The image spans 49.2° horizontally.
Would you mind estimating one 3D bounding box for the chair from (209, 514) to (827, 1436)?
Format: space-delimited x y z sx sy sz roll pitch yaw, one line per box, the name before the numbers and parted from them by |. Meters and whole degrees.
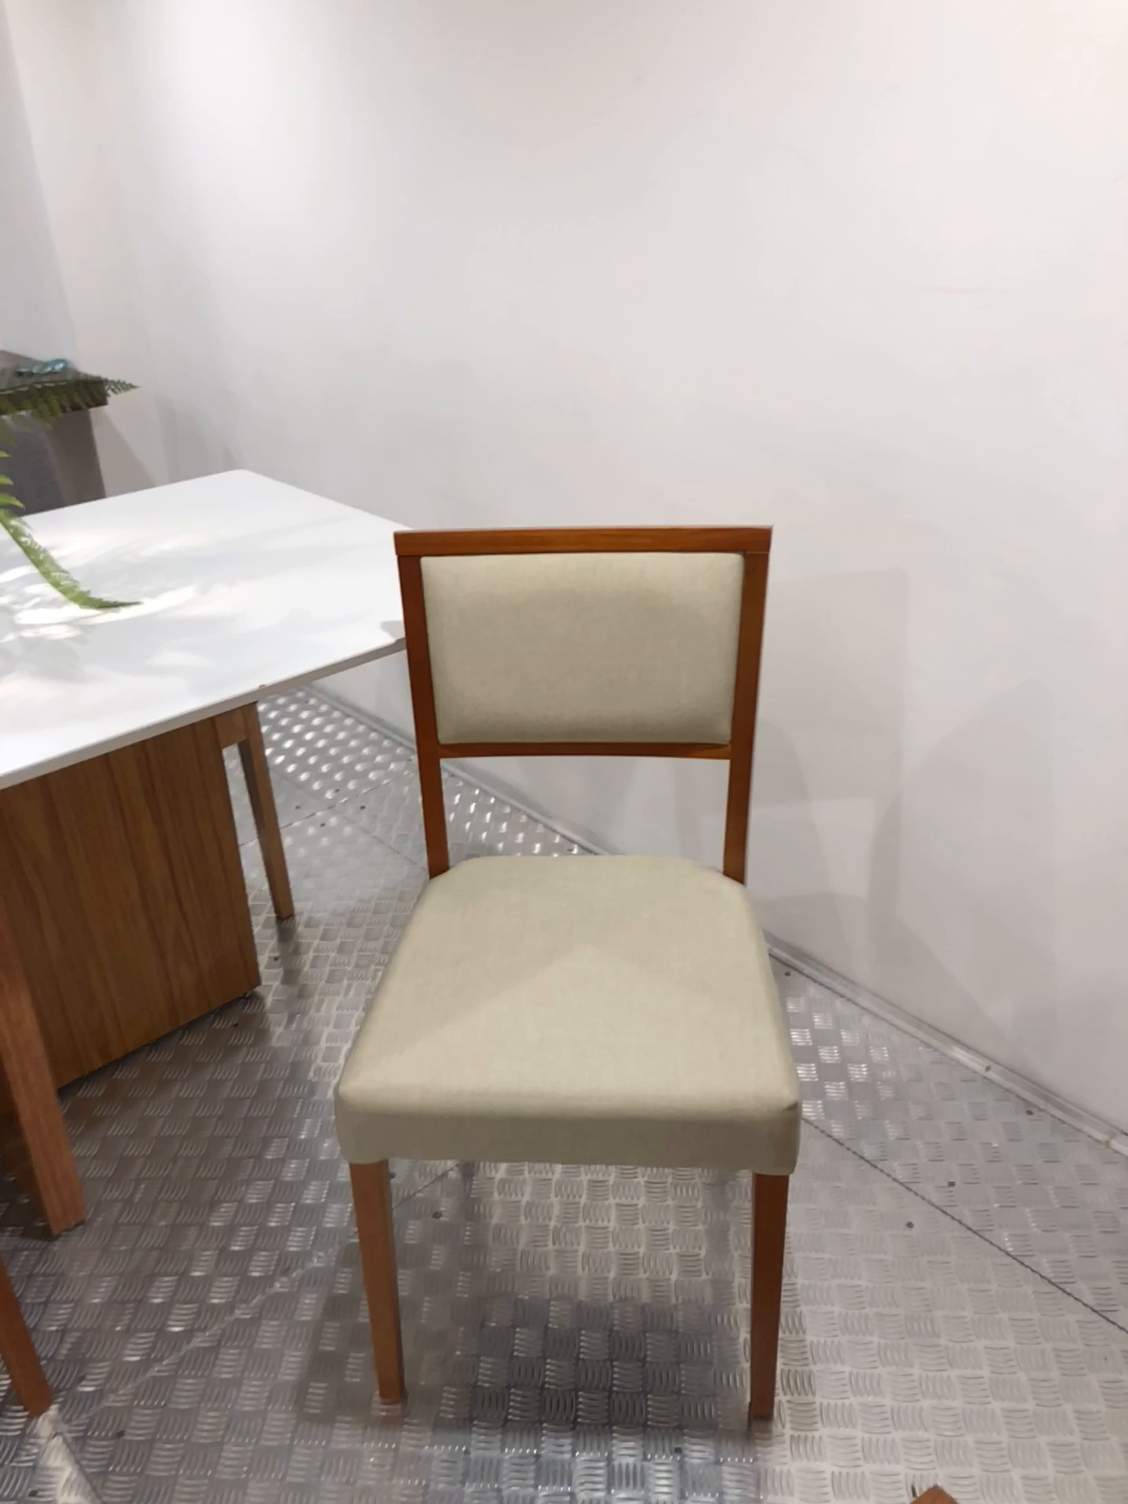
chair | -0.005 0.241 1.508 0.520 0.894 0.625 0 27 5
